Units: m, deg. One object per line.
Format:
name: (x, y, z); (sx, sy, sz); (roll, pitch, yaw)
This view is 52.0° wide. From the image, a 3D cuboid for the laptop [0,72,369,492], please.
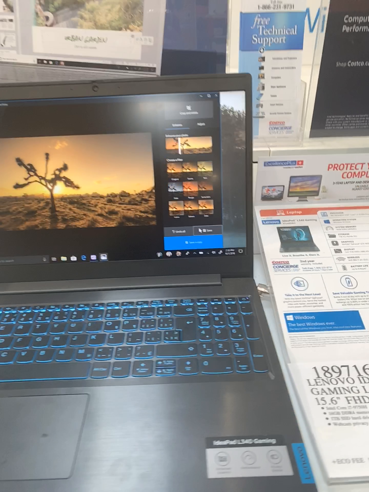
laptop: (-0.086, -0.008, 0.329); (0.340, 0.214, 0.330); (-2, 31, -1)
